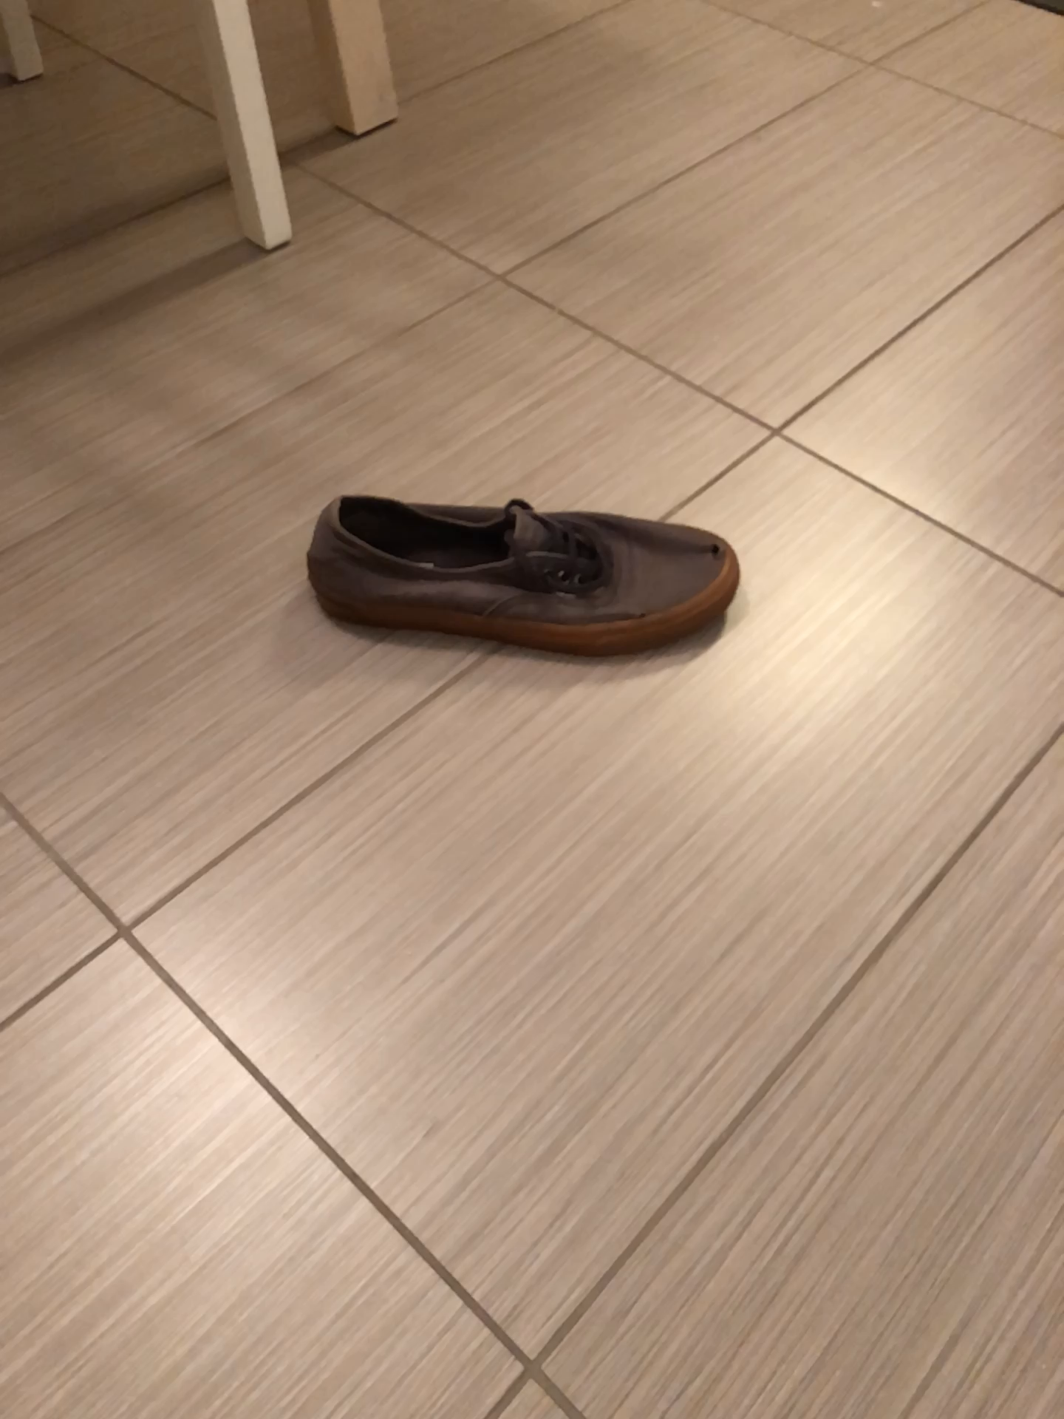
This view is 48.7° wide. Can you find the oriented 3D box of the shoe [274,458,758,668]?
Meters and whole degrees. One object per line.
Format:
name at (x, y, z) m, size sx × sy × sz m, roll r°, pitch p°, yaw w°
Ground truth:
shoe at (-0.008, -0.096, 0.761) m, size 0.290 × 0.060 × 0.111 m, roll 3°, pitch 52°, yaw 1°
